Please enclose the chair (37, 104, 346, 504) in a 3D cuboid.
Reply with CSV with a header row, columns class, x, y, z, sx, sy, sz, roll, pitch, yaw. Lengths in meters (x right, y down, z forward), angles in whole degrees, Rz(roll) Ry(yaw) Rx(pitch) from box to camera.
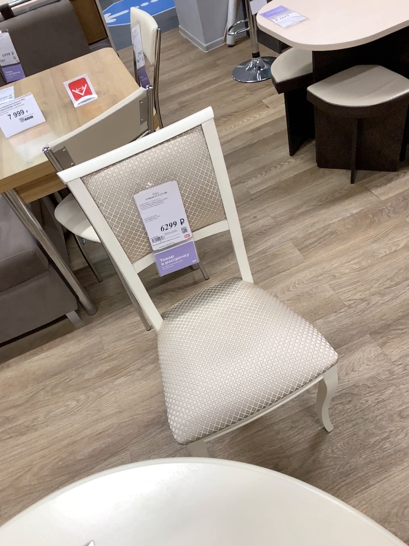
class,x,y,z,sx,sy,sz,roll,pitch,yaw
chair,0.022,0.148,1.152,0.460,0.926,0.512,-26,47,-7
